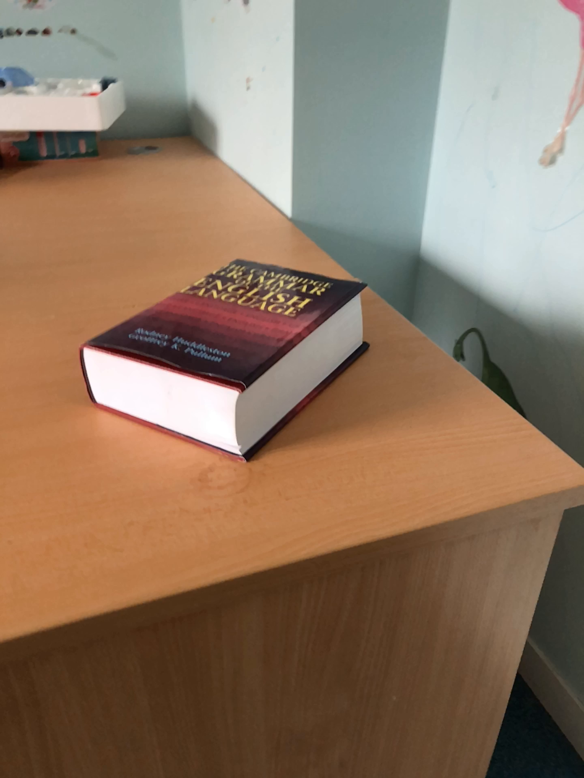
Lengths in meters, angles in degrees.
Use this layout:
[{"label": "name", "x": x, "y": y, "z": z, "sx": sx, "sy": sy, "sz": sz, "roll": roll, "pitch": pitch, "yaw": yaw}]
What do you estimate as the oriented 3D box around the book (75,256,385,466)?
[{"label": "book", "x": -0.048, "y": -0.049, "z": 0.660, "sx": 0.194, "sy": 0.070, "sz": 0.262, "roll": 16, "pitch": 35, "yaw": 27}]
